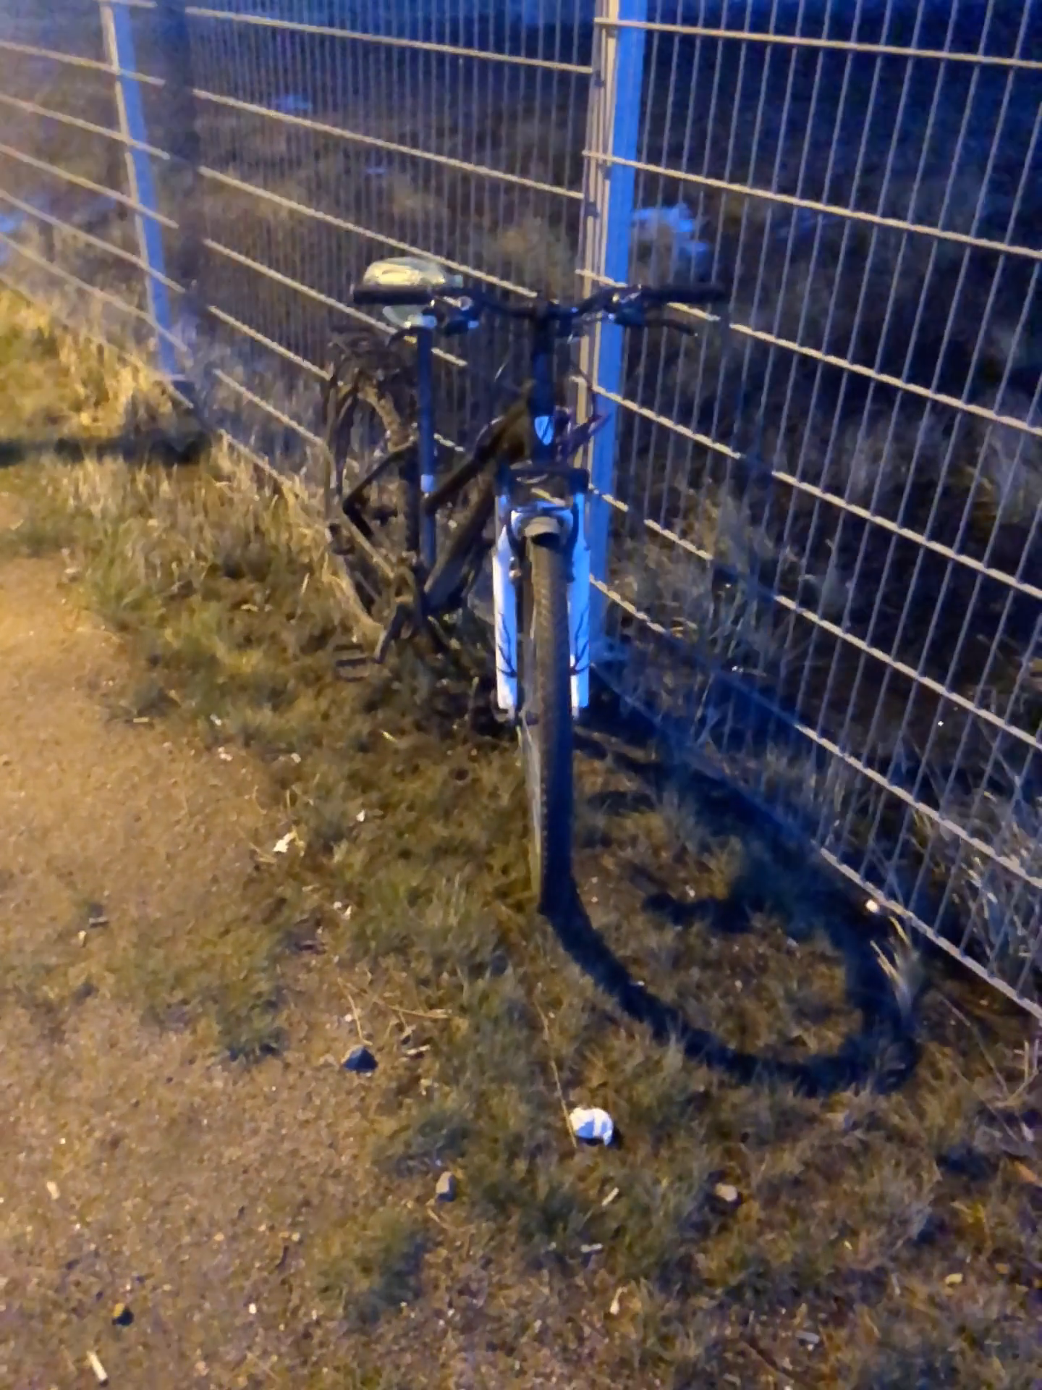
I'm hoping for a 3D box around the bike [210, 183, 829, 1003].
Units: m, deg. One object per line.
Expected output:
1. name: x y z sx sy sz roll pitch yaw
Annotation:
1. bike: -0.164 -0.377 2.181 0.570 0.947 1.592 -10 32 -18
